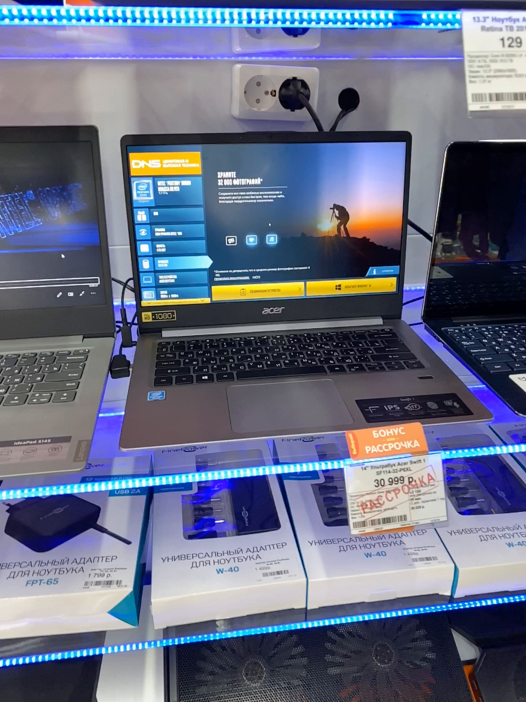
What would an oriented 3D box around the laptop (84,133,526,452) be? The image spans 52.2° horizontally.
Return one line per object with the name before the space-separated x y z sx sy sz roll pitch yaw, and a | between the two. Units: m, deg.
laptop | 0.029 -0.082 0.512 0.318 0.206 0.258 -4 27 -7
